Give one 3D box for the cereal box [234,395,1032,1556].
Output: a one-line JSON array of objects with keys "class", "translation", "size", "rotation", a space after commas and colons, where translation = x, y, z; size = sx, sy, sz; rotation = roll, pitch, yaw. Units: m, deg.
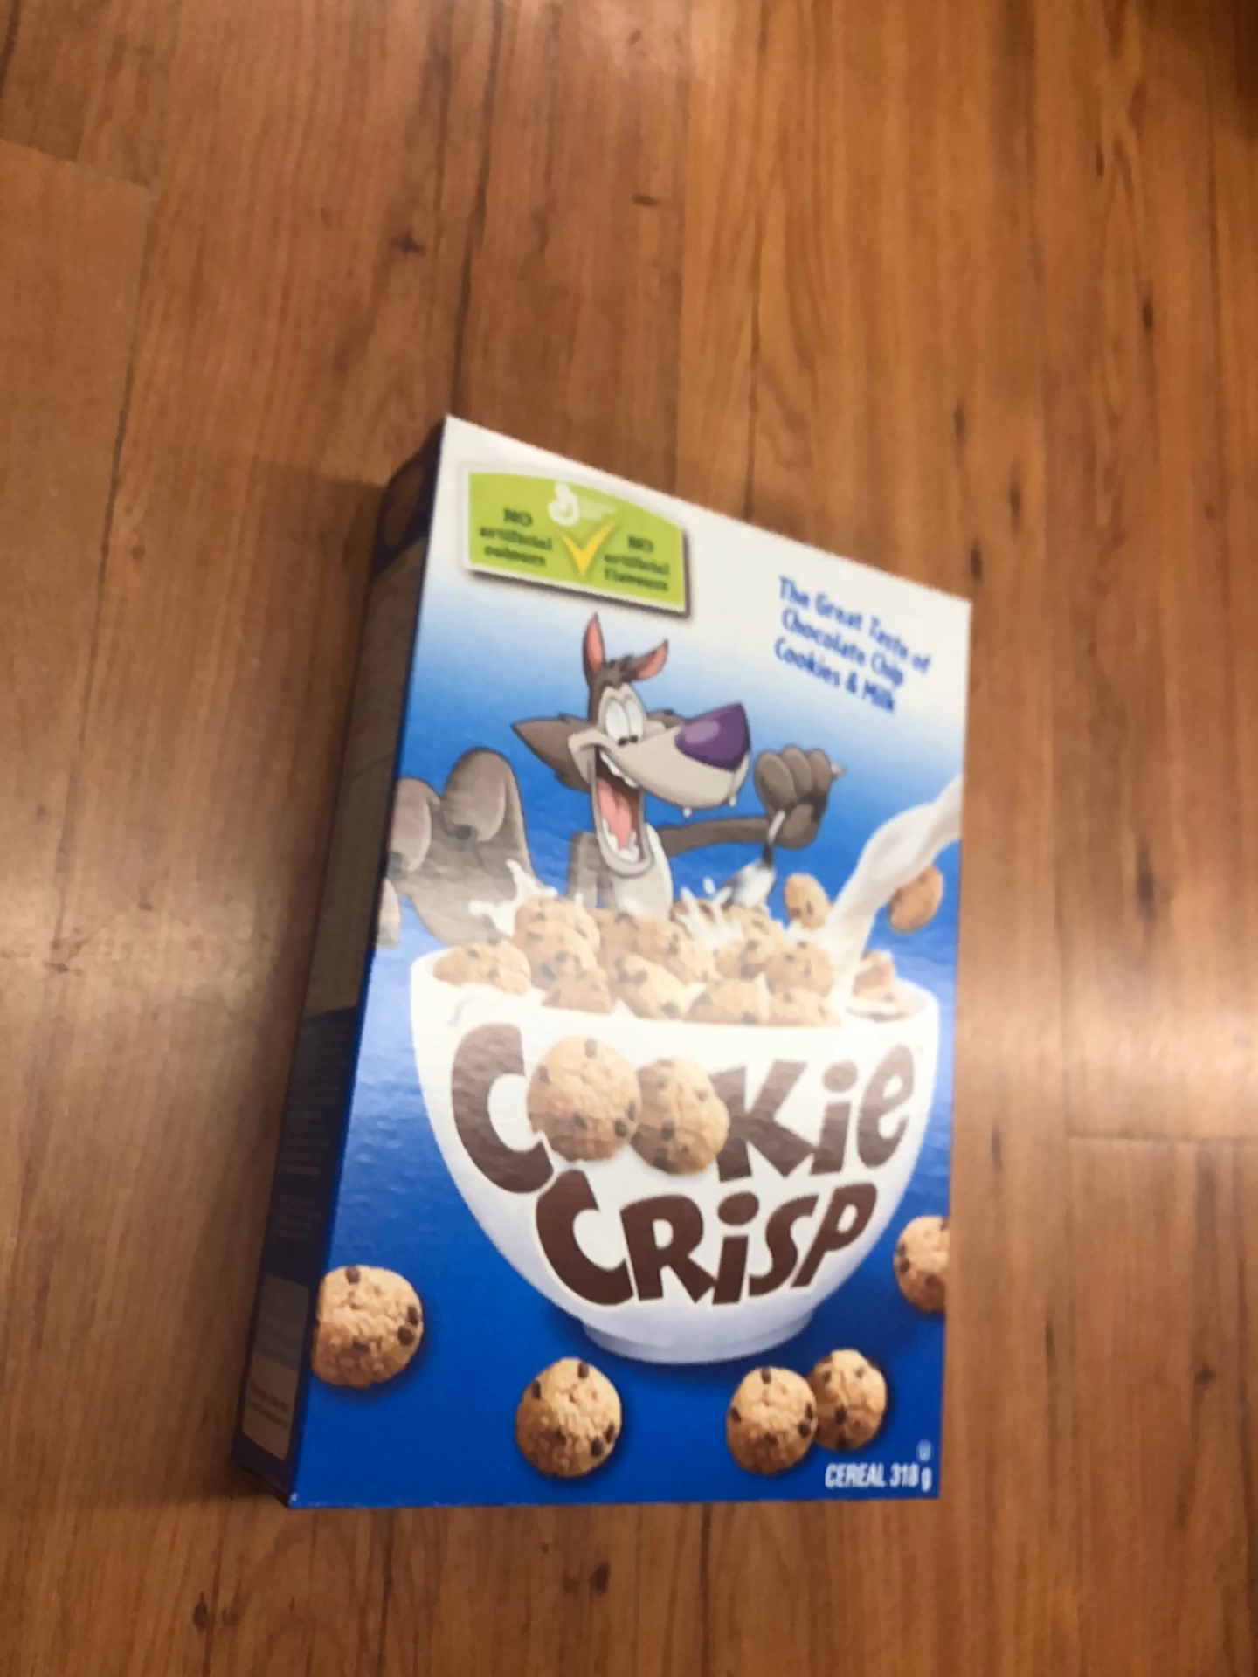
[{"class": "cereal box", "translation": [0.016, 0.044, 0.407], "size": [0.200, 0.060, 0.280], "rotation": [13, 75, -28]}]
